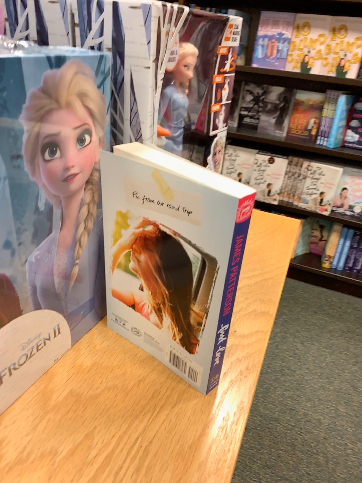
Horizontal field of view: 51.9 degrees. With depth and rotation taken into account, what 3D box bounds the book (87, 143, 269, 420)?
[{"bbox_3d":[-0.013,0.034,0.342,0.059,0.205,0.142,-25,41,-38],"label":"book"}]
